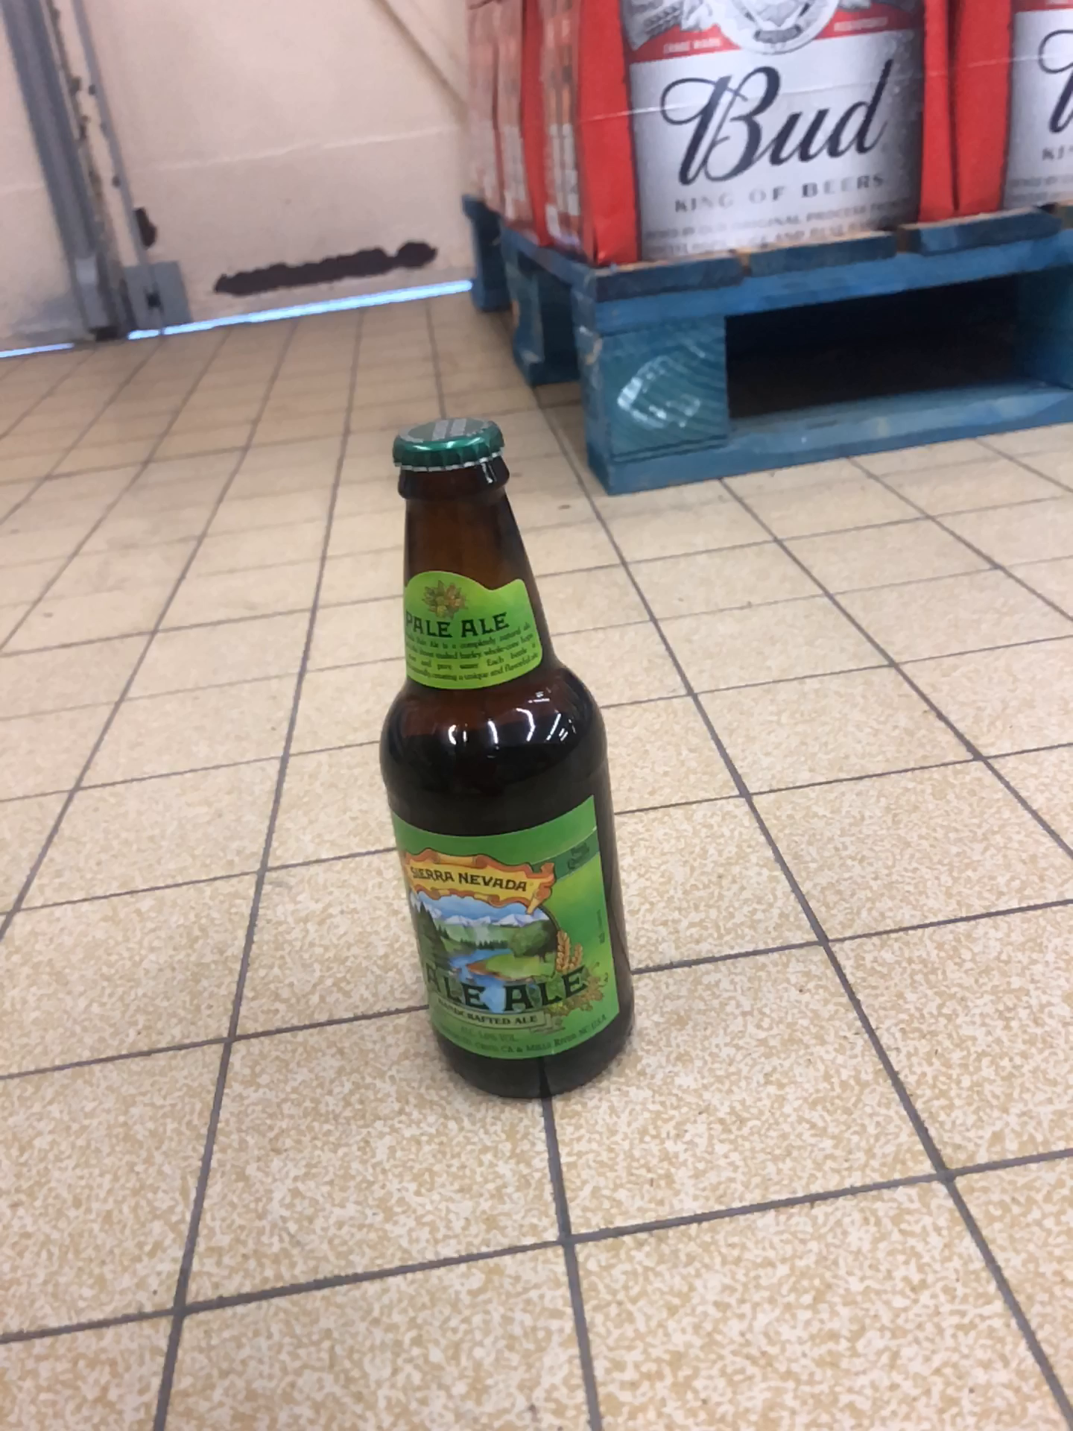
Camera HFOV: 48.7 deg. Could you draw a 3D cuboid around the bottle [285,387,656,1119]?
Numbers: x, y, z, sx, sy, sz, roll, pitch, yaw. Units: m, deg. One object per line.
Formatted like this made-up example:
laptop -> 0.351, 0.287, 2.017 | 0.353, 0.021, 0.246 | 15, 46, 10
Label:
bottle -> -0.009, 0.013, 0.332 | 0.060, 0.189, 0.070 | -1, 26, 15
